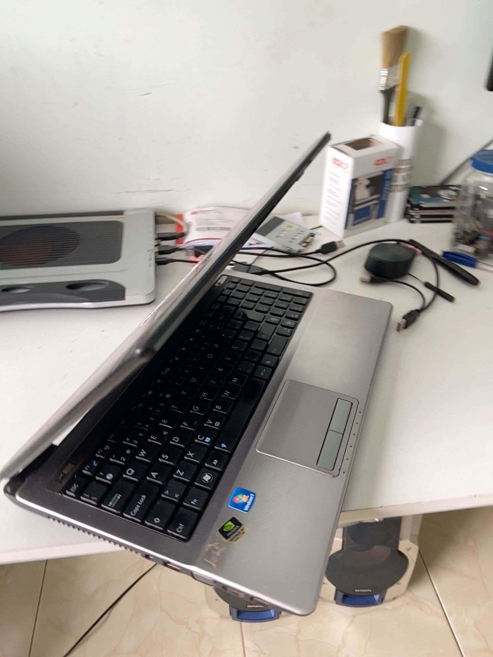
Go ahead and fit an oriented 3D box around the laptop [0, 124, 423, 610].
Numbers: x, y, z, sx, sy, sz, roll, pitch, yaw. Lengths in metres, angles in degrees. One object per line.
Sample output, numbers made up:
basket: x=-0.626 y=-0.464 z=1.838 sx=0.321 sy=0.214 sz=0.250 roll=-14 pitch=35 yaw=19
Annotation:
laptop: x=-0.007 y=-0.025 z=0.447 sx=0.246 sy=0.182 sz=0.378 roll=13 pitch=38 yaw=17
